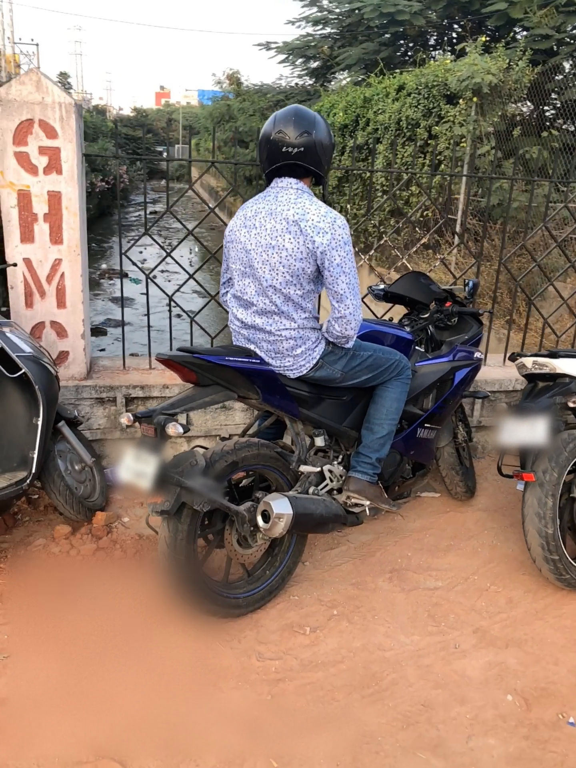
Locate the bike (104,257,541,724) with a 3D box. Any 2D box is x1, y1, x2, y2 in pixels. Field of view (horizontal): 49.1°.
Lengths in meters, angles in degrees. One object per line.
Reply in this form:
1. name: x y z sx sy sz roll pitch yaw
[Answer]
1. bike: 0.280 0.148 2.606 0.732 0.995 1.951 17 25 35
